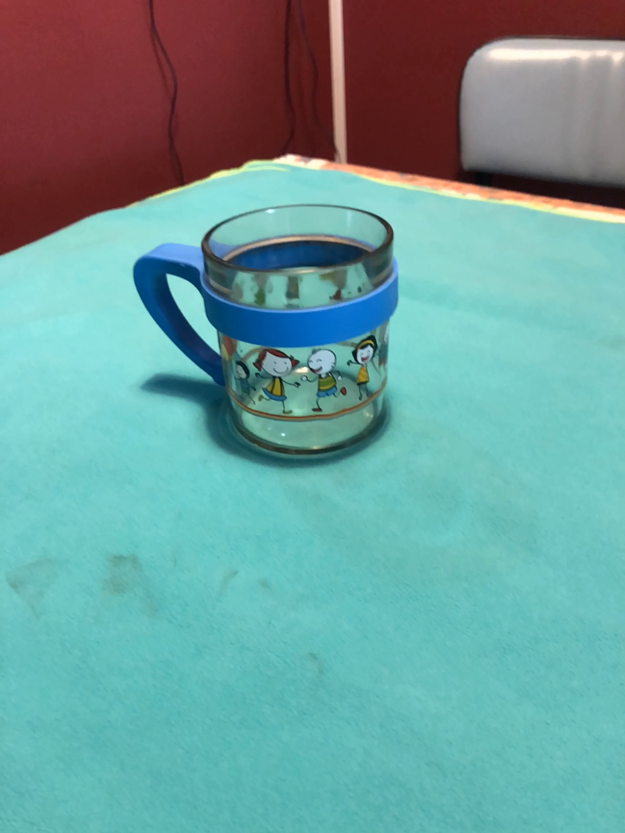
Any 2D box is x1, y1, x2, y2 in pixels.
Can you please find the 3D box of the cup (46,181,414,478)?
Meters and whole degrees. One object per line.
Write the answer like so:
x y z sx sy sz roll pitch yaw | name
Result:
-0.031 -0.048 0.324 0.130 0.089 0.091 12 36 22 | cup
